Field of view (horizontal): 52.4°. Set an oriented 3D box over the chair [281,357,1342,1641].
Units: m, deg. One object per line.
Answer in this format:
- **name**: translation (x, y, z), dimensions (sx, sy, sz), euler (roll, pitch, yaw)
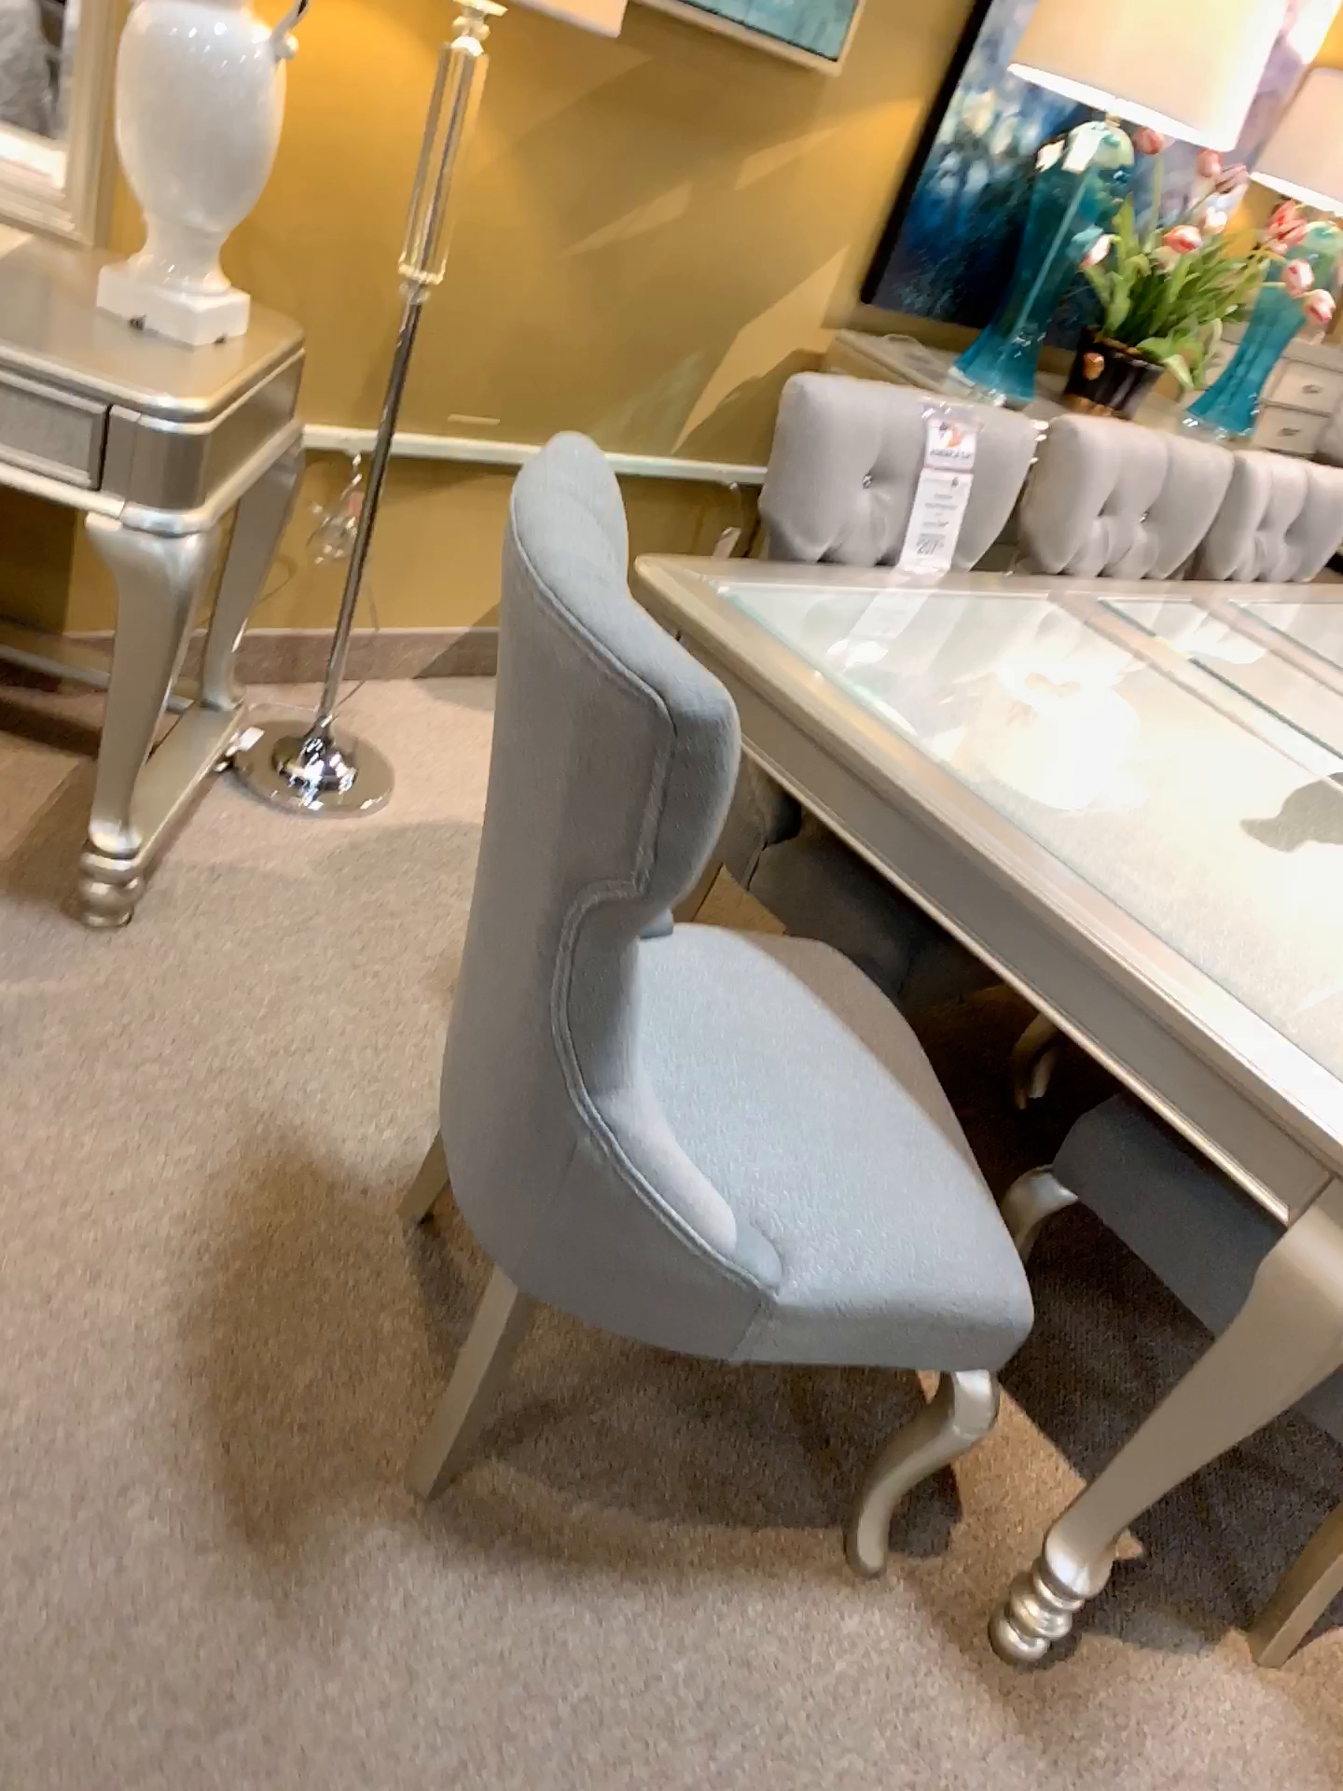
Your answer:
- **chair**: translation (0.076, 0.140, 1.258), dimensions (0.681, 0.915, 0.583), euler (9, 34, -21)
